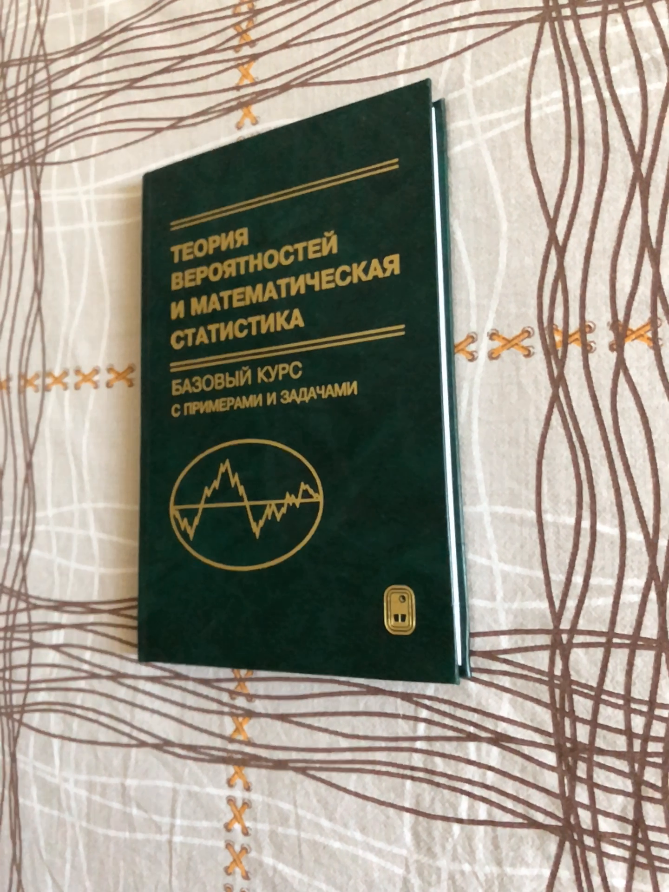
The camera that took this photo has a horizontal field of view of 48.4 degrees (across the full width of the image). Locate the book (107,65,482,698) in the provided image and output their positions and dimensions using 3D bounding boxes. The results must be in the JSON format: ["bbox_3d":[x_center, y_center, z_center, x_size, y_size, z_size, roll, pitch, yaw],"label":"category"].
[{"bbox_3d":[-0.024,-0.020,0.299,0.150,0.030,0.217,-5,82,28],"label":"book"}]
